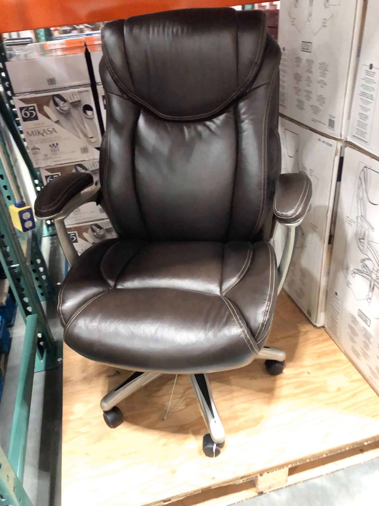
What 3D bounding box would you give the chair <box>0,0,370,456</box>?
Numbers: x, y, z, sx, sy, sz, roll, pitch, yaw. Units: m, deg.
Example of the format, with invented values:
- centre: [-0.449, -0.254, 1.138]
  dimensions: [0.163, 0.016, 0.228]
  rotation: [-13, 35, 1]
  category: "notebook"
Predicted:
- centre: [-0.020, -0.104, 1.166]
  dimensions: [0.660, 1.095, 0.723]
  rotation: [-2, 32, 6]
  category: "chair"
